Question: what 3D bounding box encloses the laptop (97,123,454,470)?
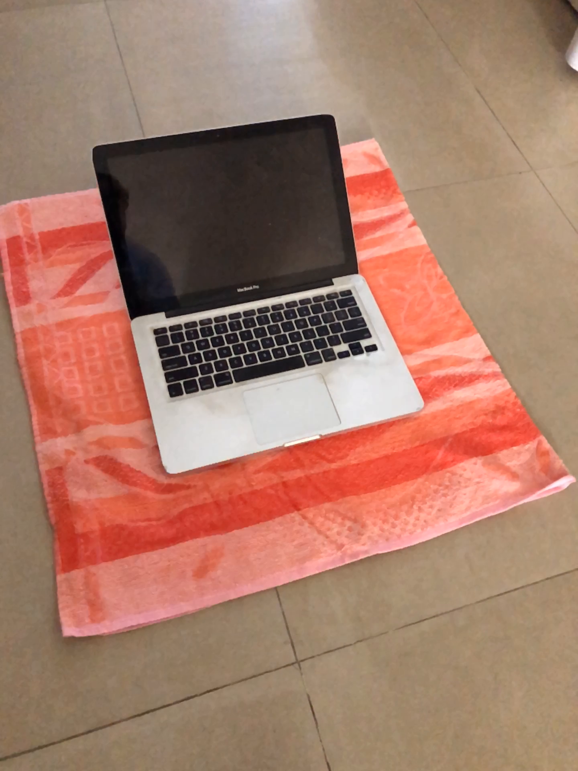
[{"bbox_3d":[-0.036,-0.127,0.776,0.310,0.133,0.373,-13,60,-13],"label":"laptop"}]
